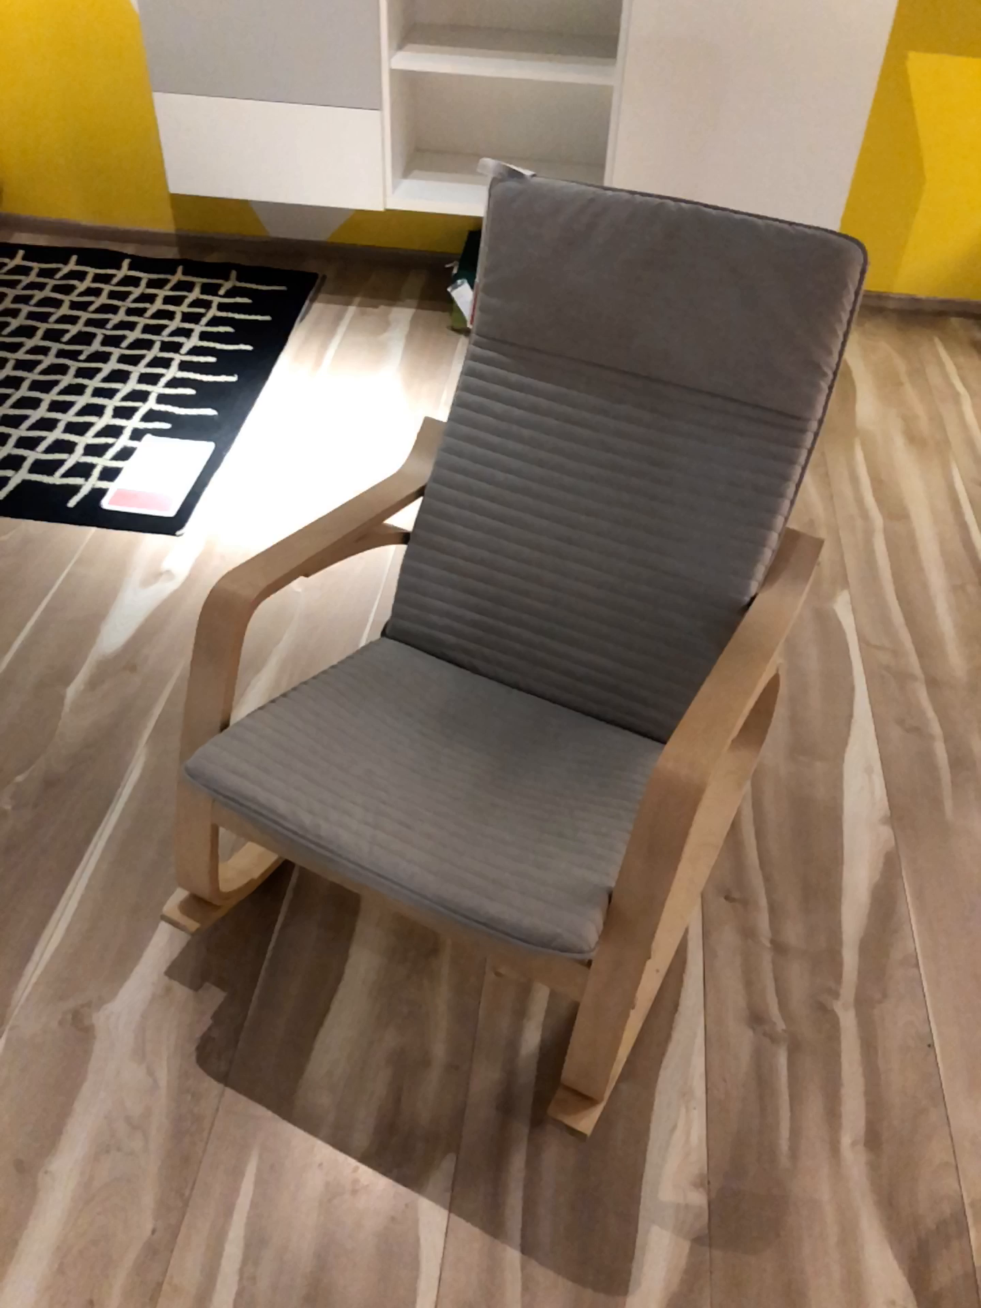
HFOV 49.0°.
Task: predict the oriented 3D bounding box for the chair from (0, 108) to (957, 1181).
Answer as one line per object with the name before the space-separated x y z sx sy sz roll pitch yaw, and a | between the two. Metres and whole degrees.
chair | -0.006 -0.027 1.365 0.751 0.944 0.704 20 46 18
